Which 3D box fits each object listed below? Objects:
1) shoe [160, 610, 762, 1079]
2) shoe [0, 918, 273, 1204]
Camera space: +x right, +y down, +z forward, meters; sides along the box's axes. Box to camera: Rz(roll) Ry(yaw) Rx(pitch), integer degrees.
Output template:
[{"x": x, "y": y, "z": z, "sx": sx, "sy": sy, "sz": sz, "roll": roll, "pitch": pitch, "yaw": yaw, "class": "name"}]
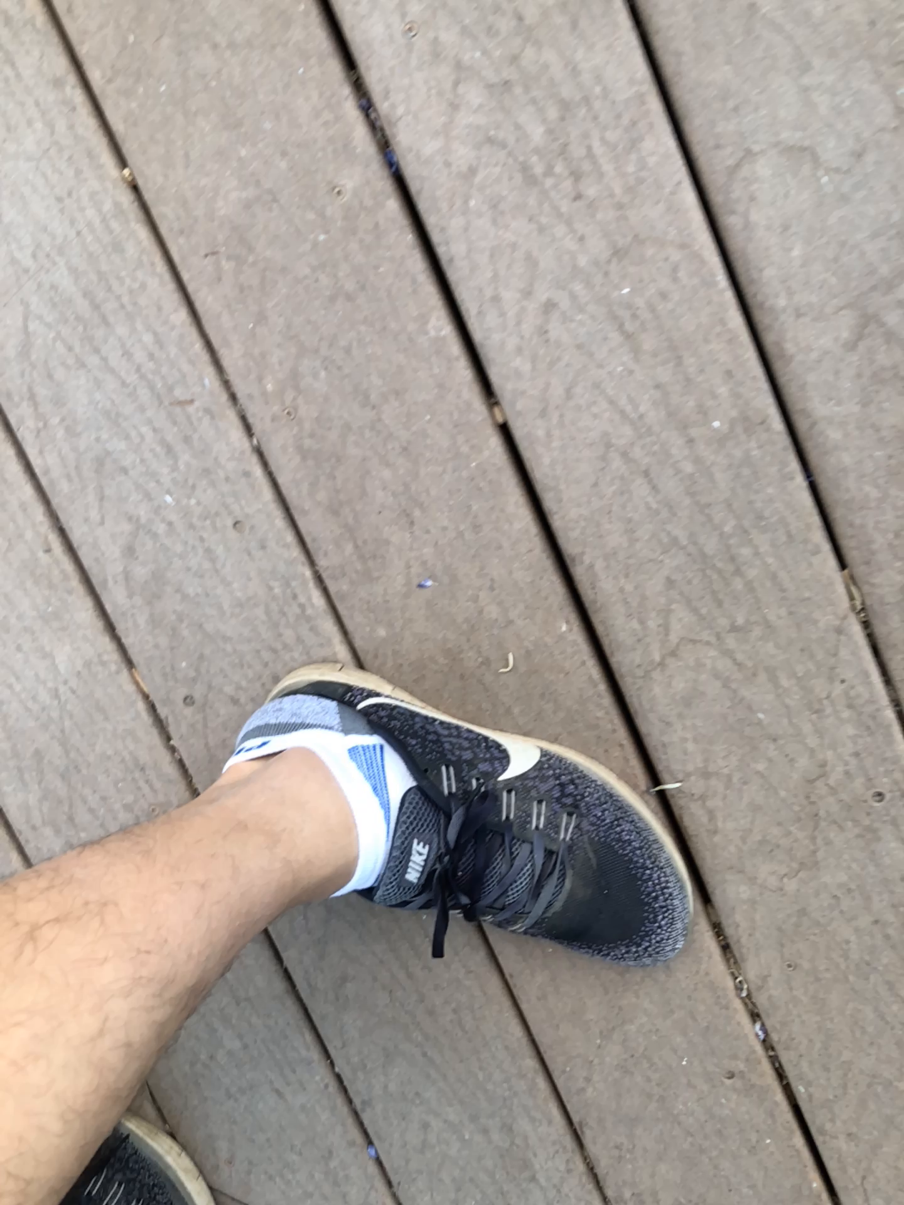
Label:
[{"x": 0.006, "y": 0.137, "z": 0.587, "sx": 0.310, "sy": 0.090, "sz": 0.120, "roll": 27, "pitch": 106, "yaw": 0, "class": "shoe"}, {"x": -0.279, "y": 0.403, "z": 0.715, "sx": 0.120, "sy": 0.090, "sz": 0.320, "roll": -30, "pitch": 99, "yaw": 14, "class": "shoe"}]
